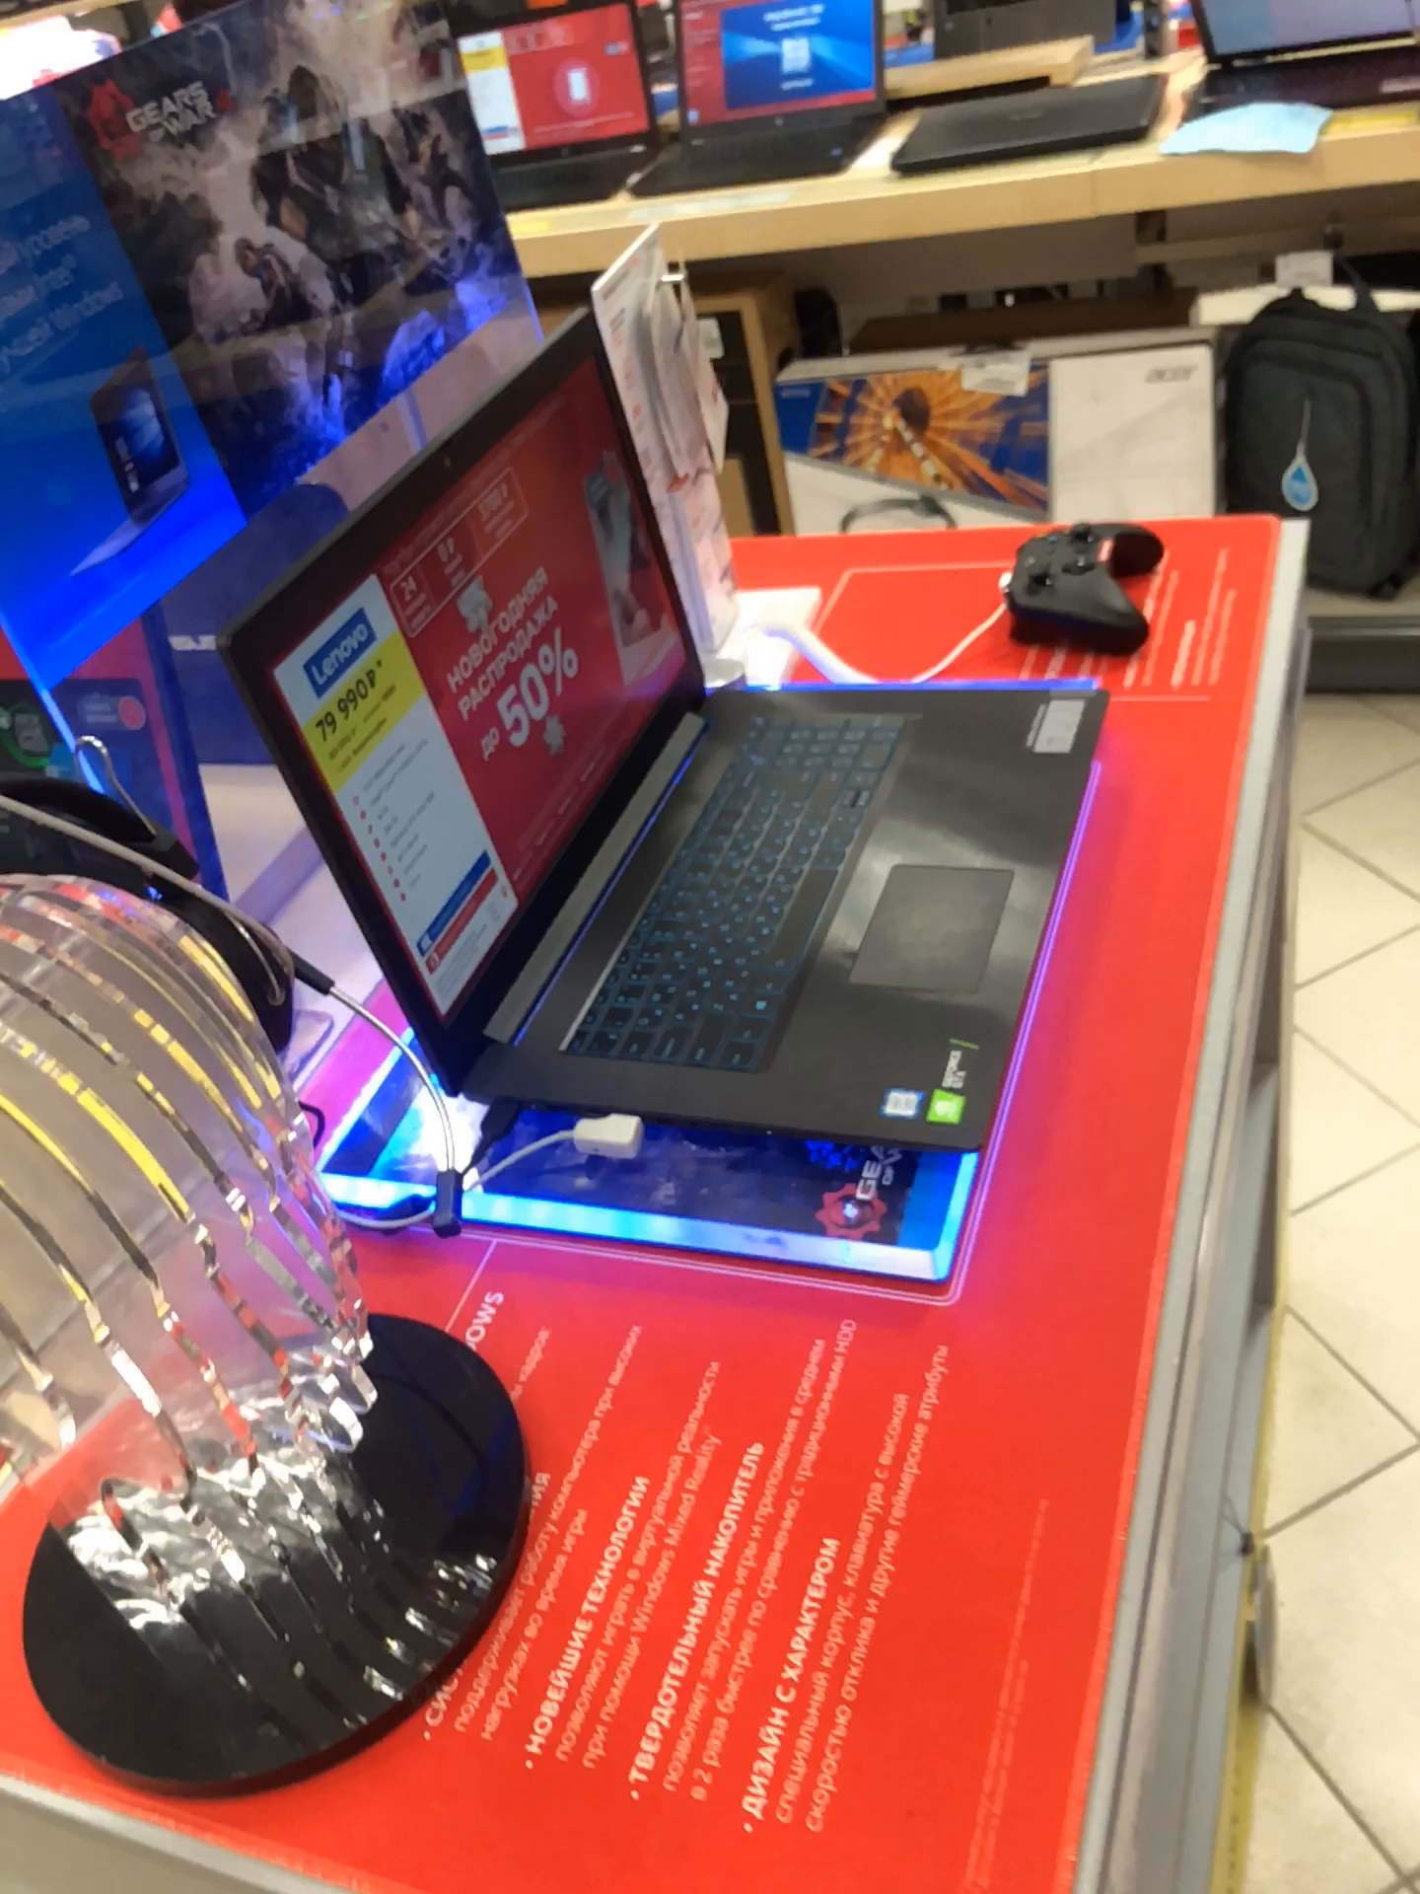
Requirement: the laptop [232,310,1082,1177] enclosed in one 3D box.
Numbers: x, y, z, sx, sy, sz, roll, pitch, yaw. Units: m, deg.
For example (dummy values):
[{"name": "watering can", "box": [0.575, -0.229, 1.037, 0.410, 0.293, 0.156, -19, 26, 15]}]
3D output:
[{"name": "laptop", "box": [0.015, -0.141, 0.852, 0.295, 0.255, 0.405, 5, 40, 22]}]
